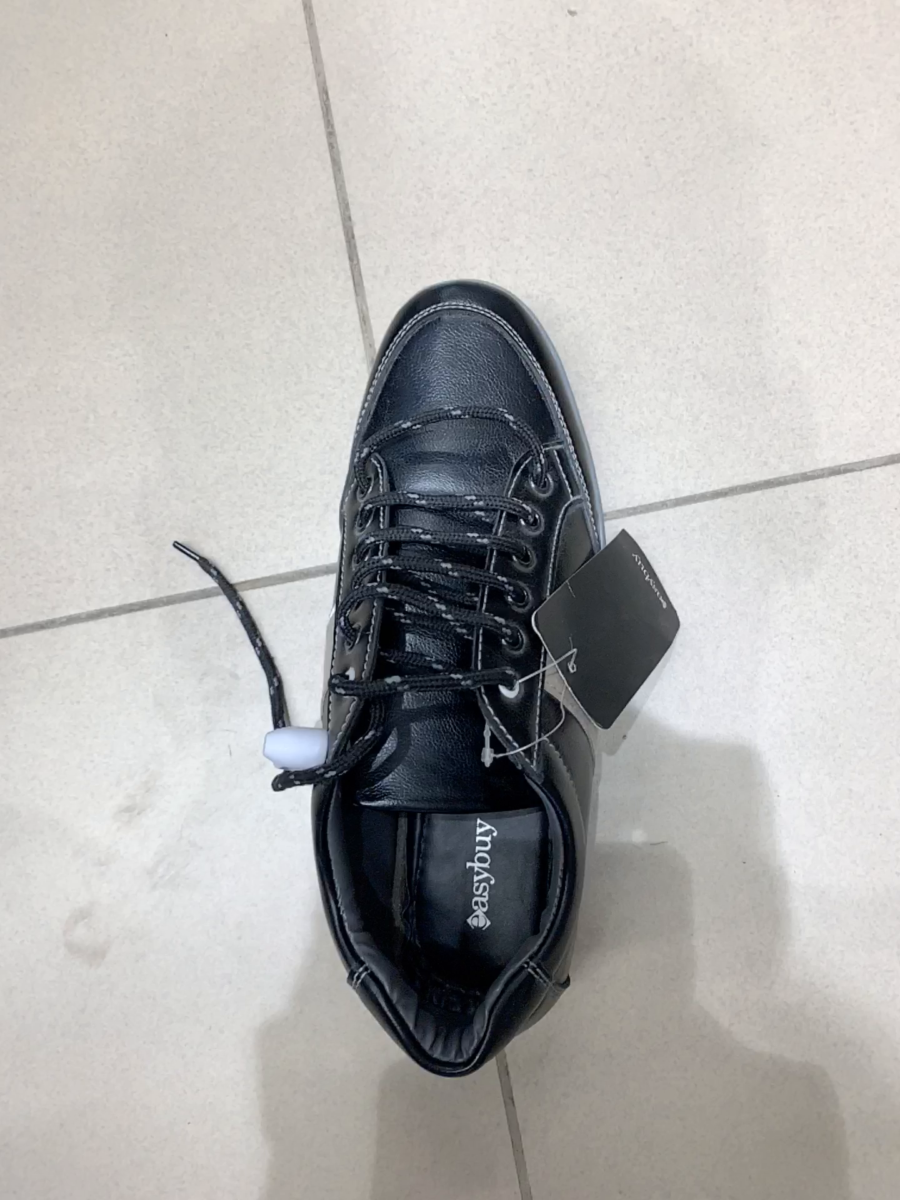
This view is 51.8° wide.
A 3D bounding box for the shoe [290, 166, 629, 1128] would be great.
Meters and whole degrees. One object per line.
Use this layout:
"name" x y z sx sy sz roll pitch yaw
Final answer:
"shoe" 0.003 0.013 0.337 0.100 0.090 0.300 -2 84 5
